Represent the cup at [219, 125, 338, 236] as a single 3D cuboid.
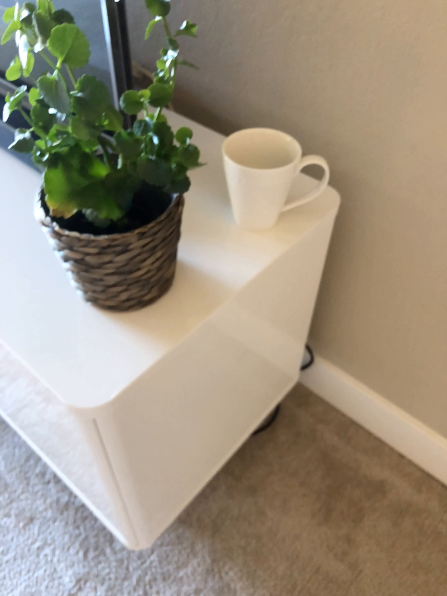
[{"bbox_3d":[0.064,-0.145,0.620,0.130,0.090,0.090,4,47,2],"label":"cup"}]
